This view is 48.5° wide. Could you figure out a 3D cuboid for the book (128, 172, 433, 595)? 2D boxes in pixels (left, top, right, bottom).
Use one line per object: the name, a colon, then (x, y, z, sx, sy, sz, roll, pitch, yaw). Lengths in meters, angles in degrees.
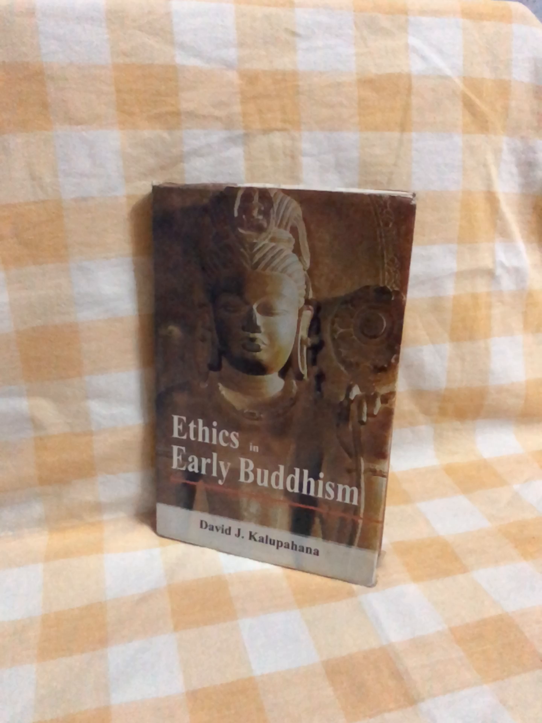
book: (-0.003, 0.015, 0.348, 0.160, 0.229, 0.020, 8, 20, 17)
